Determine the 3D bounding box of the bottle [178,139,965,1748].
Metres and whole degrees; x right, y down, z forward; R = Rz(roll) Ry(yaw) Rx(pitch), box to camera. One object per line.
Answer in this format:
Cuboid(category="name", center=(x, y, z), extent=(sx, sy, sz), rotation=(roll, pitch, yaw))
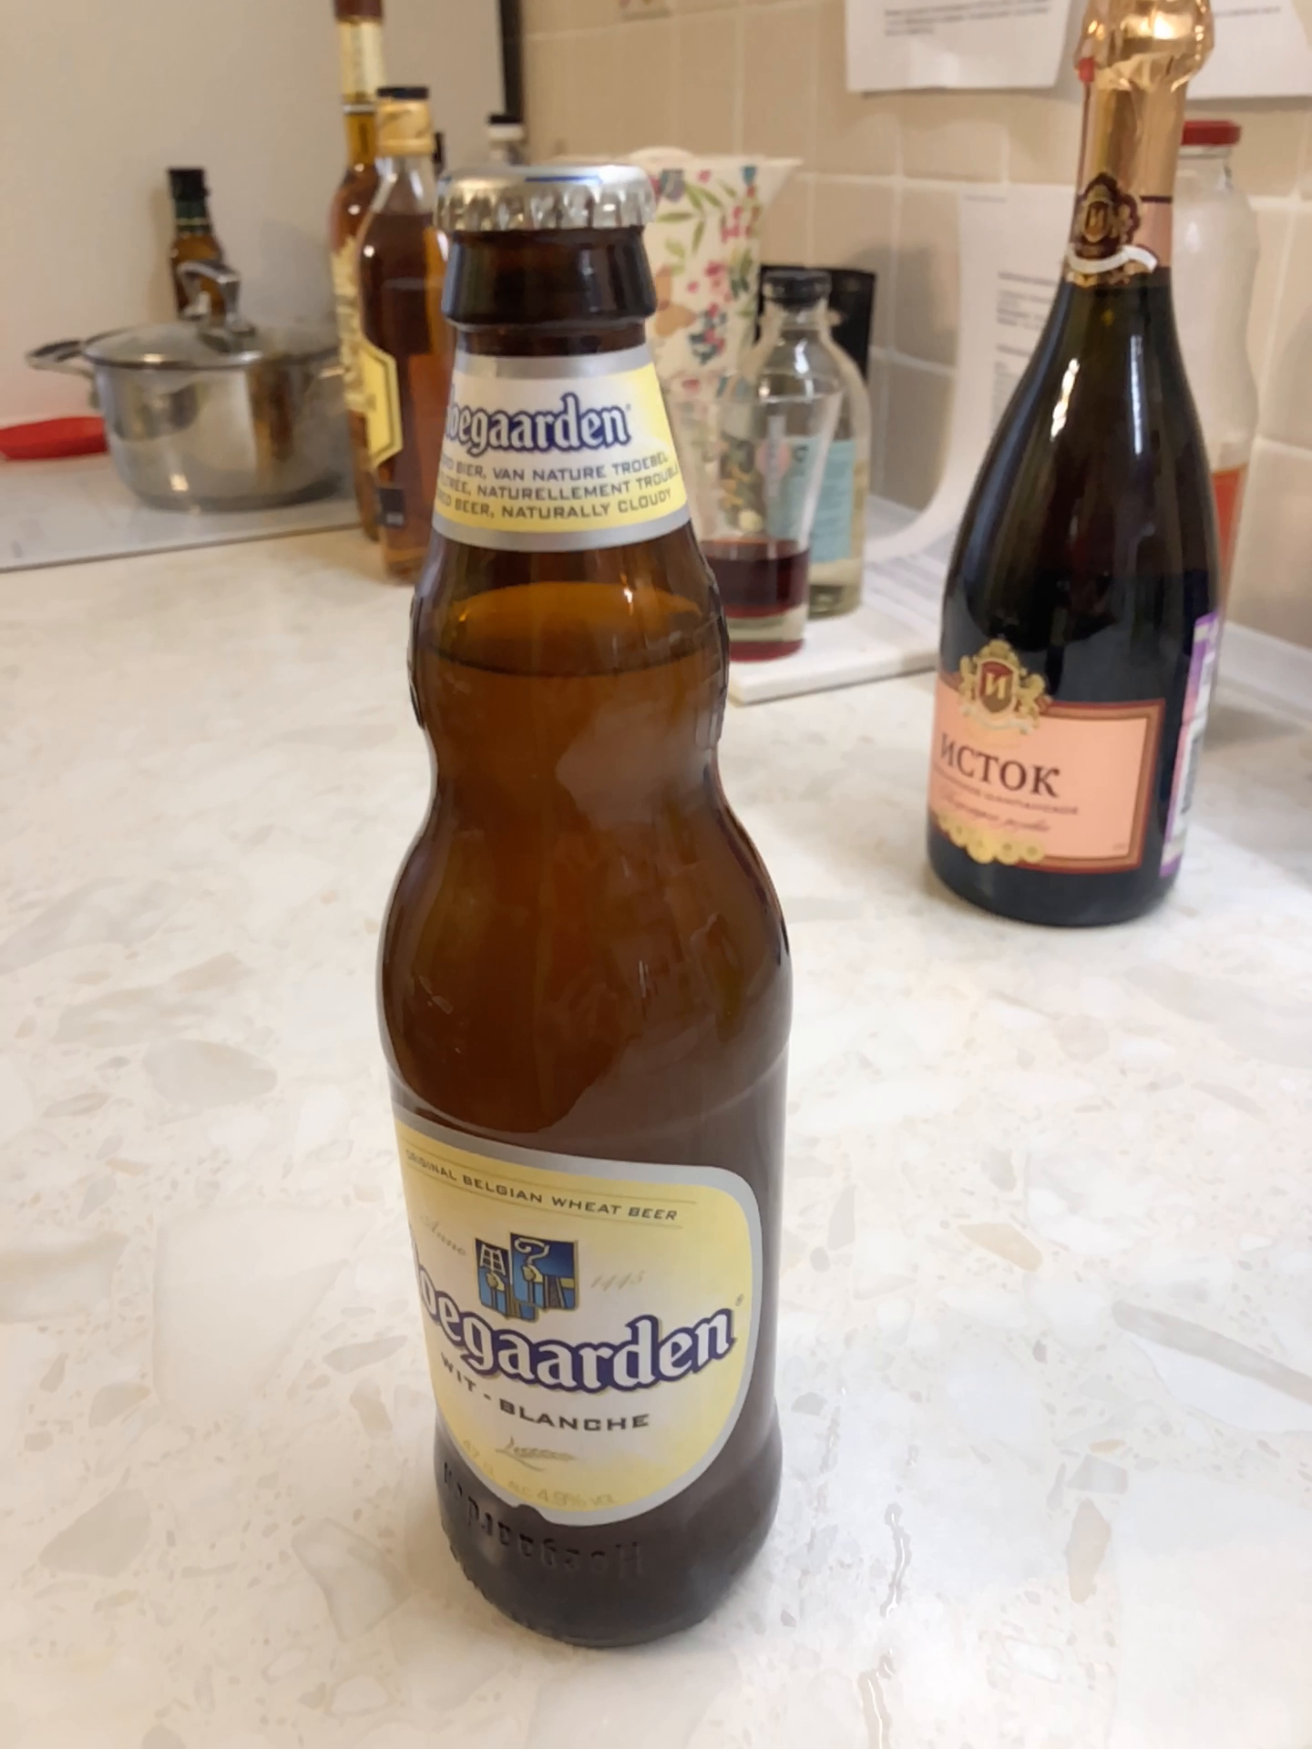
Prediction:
Cuboid(category="bottle", center=(-0.004, 0.019, 0.239), extent=(0.070, 0.248, 0.081), rotation=(11, 29, 22))
